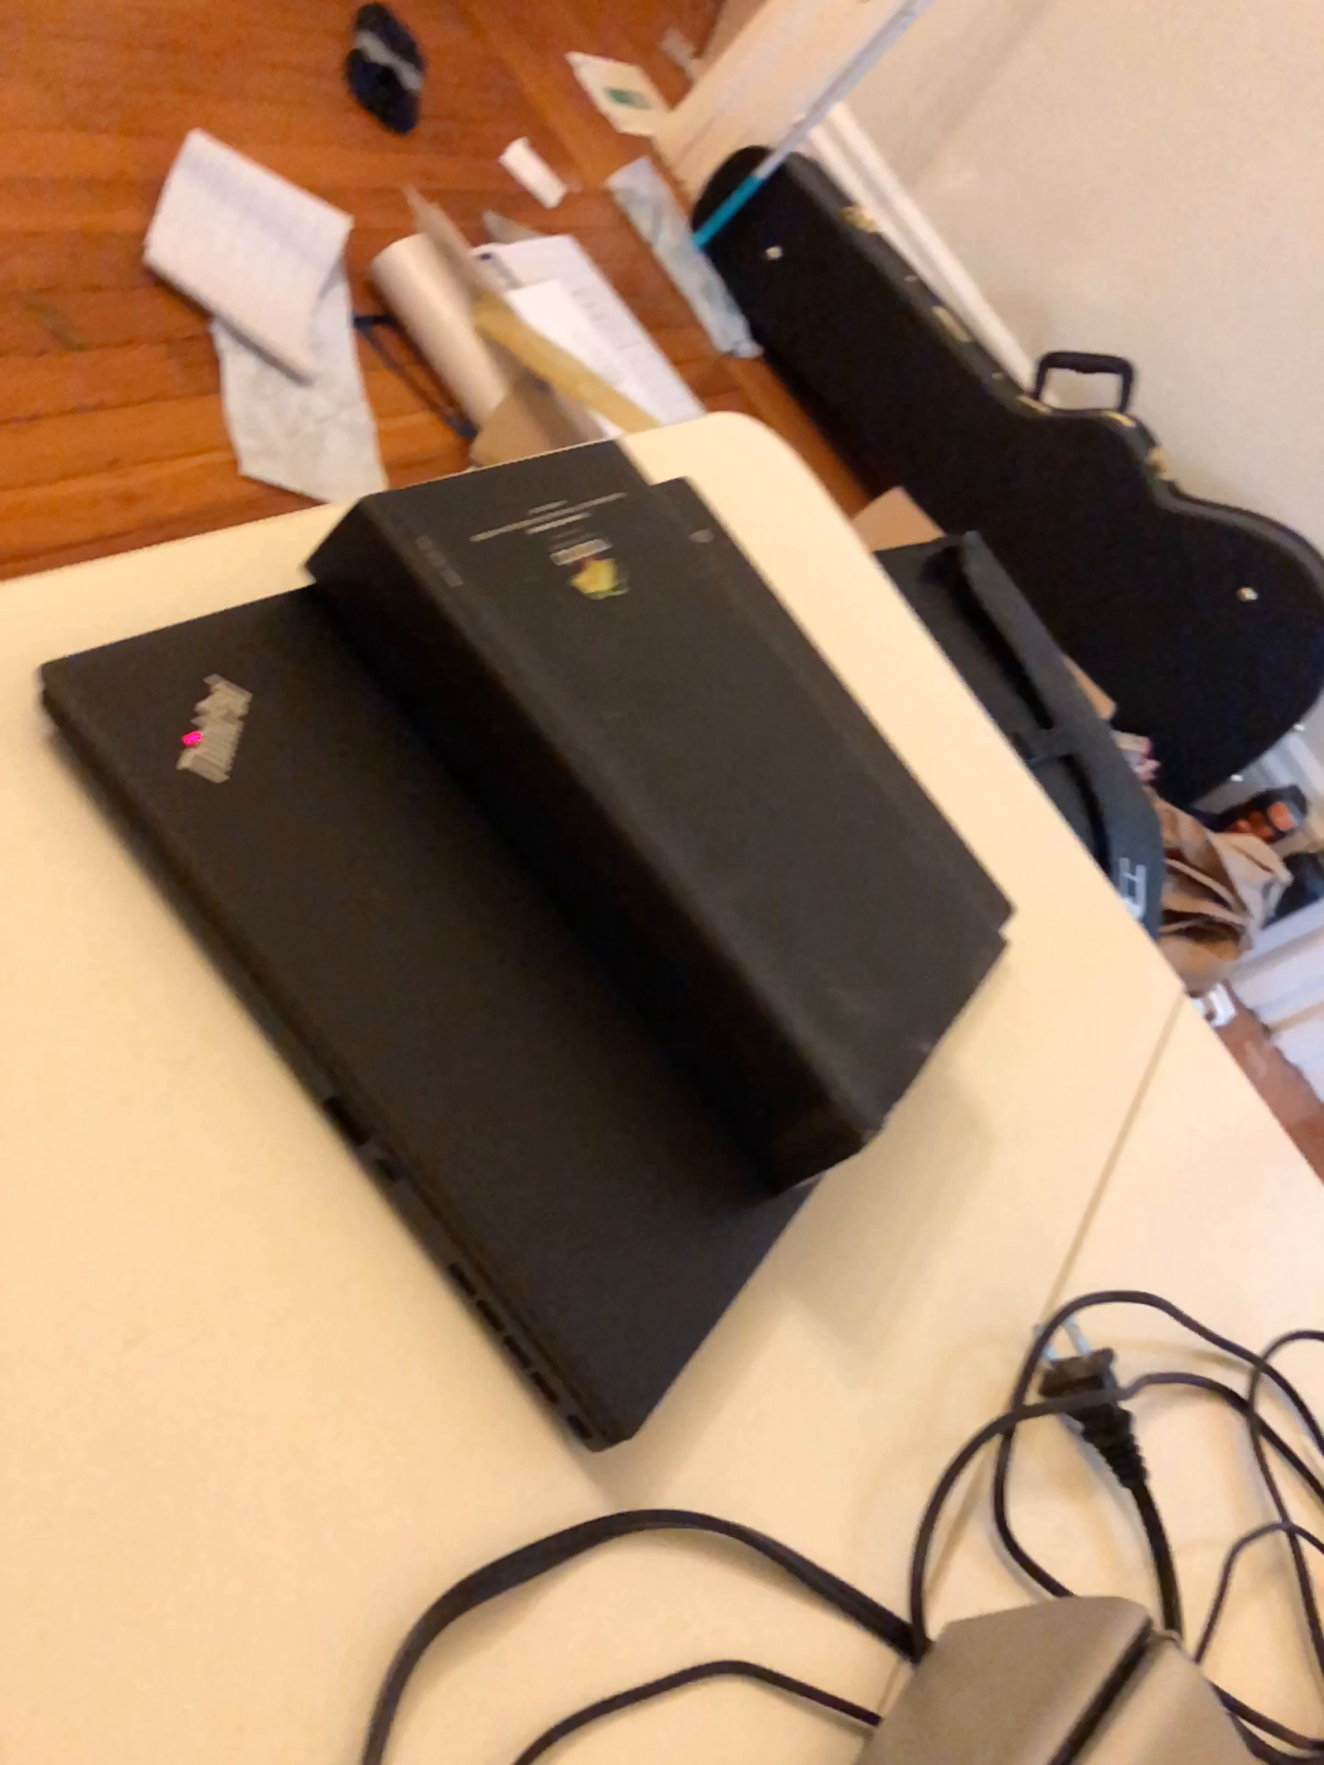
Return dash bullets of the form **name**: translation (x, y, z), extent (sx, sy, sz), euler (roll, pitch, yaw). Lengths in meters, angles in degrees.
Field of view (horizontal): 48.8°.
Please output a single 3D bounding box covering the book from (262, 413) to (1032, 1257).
- **book**: translation (0.009, -0.028, 0.441), extent (0.230, 0.040, 0.151), euler (54, 36, -1)
